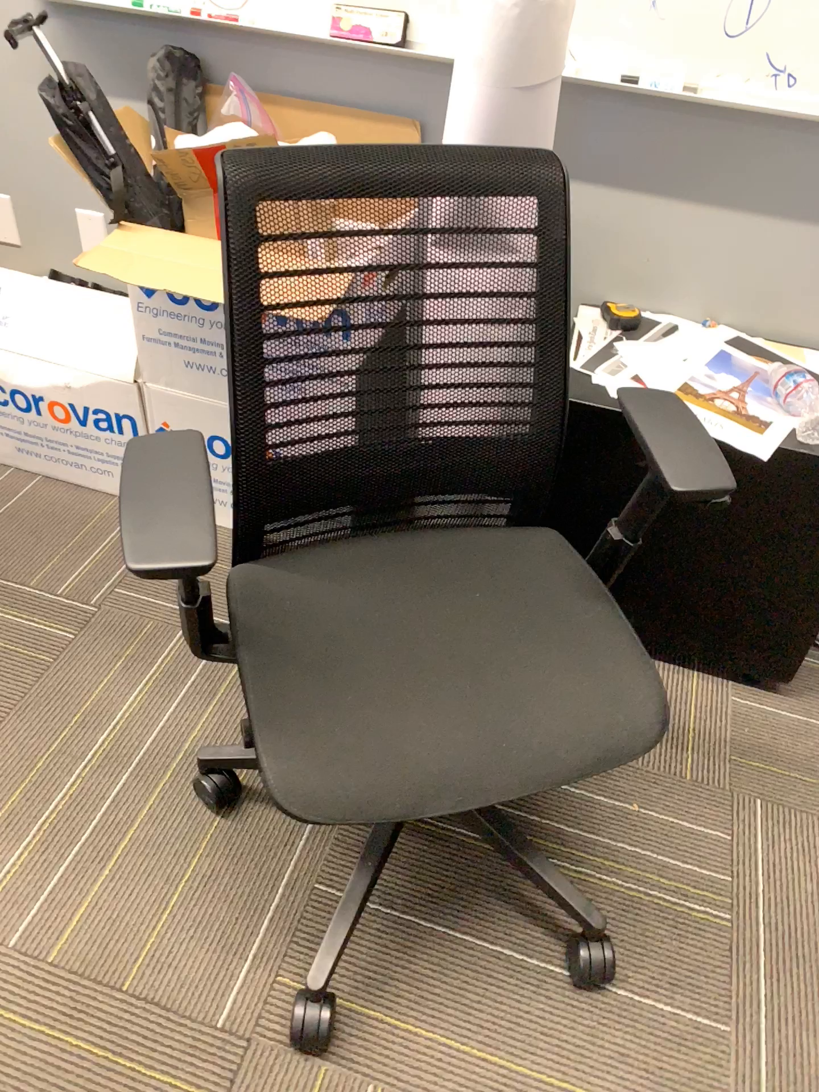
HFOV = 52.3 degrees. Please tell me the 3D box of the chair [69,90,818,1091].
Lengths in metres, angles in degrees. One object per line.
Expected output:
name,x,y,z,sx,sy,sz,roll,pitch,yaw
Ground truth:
chair,0.044,0.043,1.005,0.660,0.915,0.684,-10,43,-18
